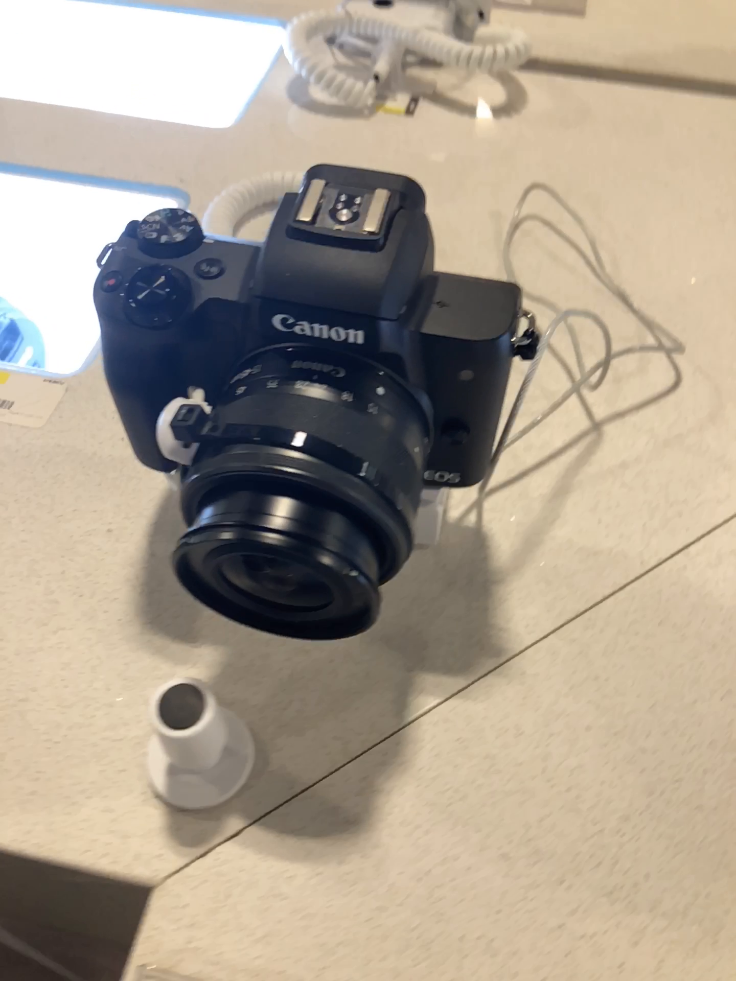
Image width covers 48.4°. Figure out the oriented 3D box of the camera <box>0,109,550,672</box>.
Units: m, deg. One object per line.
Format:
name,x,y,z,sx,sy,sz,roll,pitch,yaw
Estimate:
camera,-0.025,-0.033,0.233,0.130,0.080,0.121,10,52,6
